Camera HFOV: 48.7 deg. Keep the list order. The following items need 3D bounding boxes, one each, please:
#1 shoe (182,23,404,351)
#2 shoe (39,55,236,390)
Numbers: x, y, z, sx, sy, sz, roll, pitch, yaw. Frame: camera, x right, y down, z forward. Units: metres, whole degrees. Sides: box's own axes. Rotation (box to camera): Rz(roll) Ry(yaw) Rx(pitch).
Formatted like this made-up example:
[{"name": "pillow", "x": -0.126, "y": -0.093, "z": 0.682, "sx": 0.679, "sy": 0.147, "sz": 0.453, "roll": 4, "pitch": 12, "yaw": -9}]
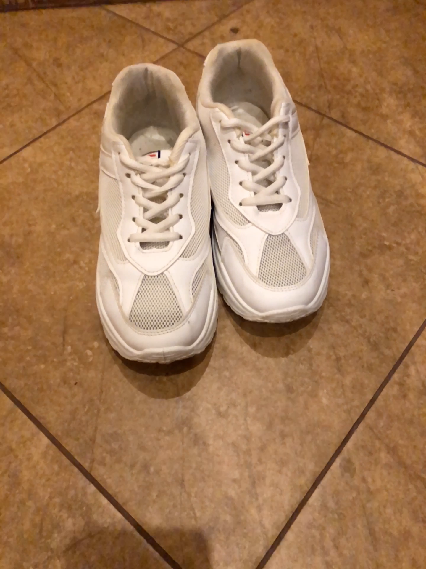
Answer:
[{"name": "shoe", "x": 0.044, "y": -0.088, "z": 0.389, "sx": 0.110, "sy": 0.109, "sz": 0.251, "roll": -6, "pitch": 58, "yaw": -3}, {"name": "shoe", "x": -0.052, "y": -0.056, "z": 0.374, "sx": 0.110, "sy": 0.109, "sz": 0.241, "roll": -5, "pitch": 58, "yaw": -2}]
